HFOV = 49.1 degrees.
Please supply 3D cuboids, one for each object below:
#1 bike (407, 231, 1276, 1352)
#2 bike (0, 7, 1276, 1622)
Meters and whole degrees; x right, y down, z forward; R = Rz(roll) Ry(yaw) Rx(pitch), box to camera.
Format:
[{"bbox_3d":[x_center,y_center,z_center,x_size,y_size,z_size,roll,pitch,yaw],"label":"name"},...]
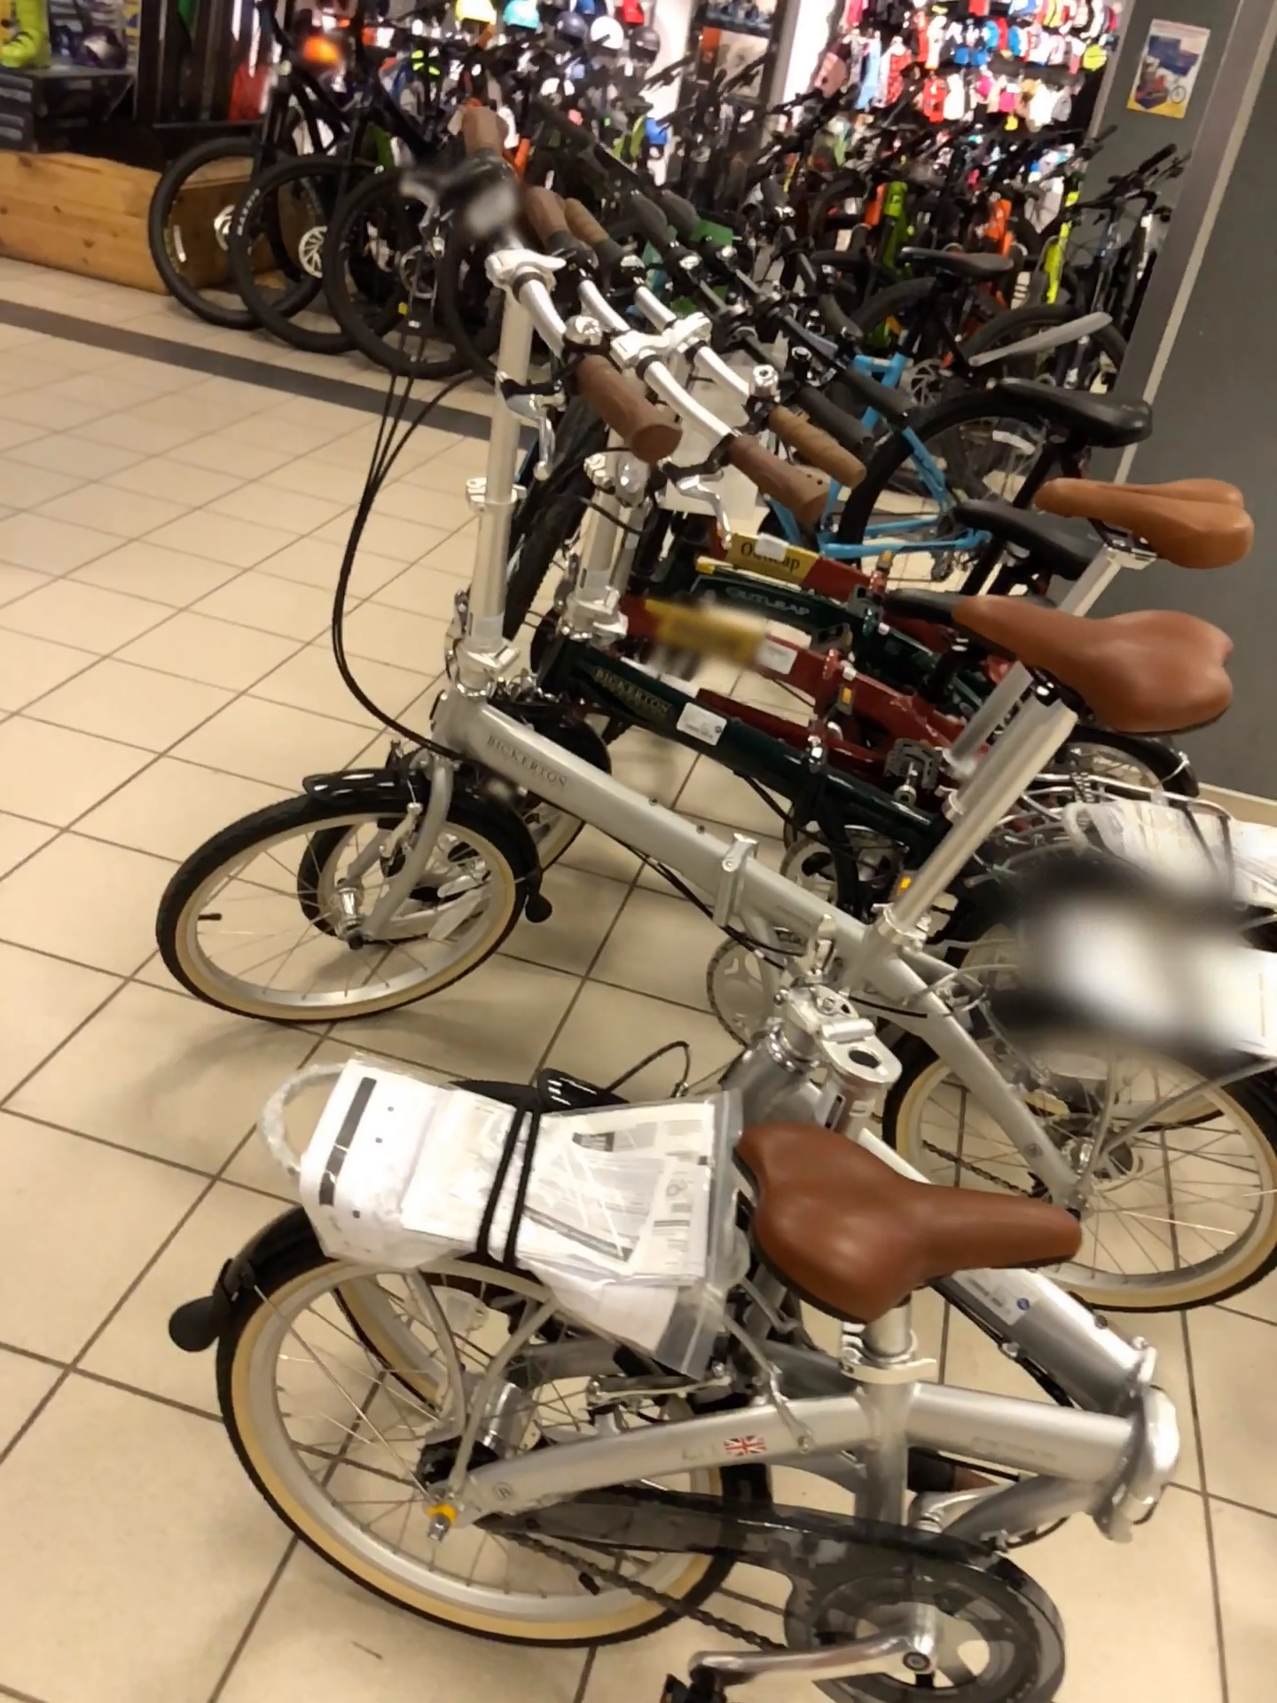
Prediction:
[{"bbox_3d":[0.364,-0.103,1.761,1.140,1.036,0.559,13,29,6],"label":"bike"},{"bbox_3d":[0.124,-0.049,1.446,1.359,1.152,0.555,17,30,8],"label":"bike"}]
